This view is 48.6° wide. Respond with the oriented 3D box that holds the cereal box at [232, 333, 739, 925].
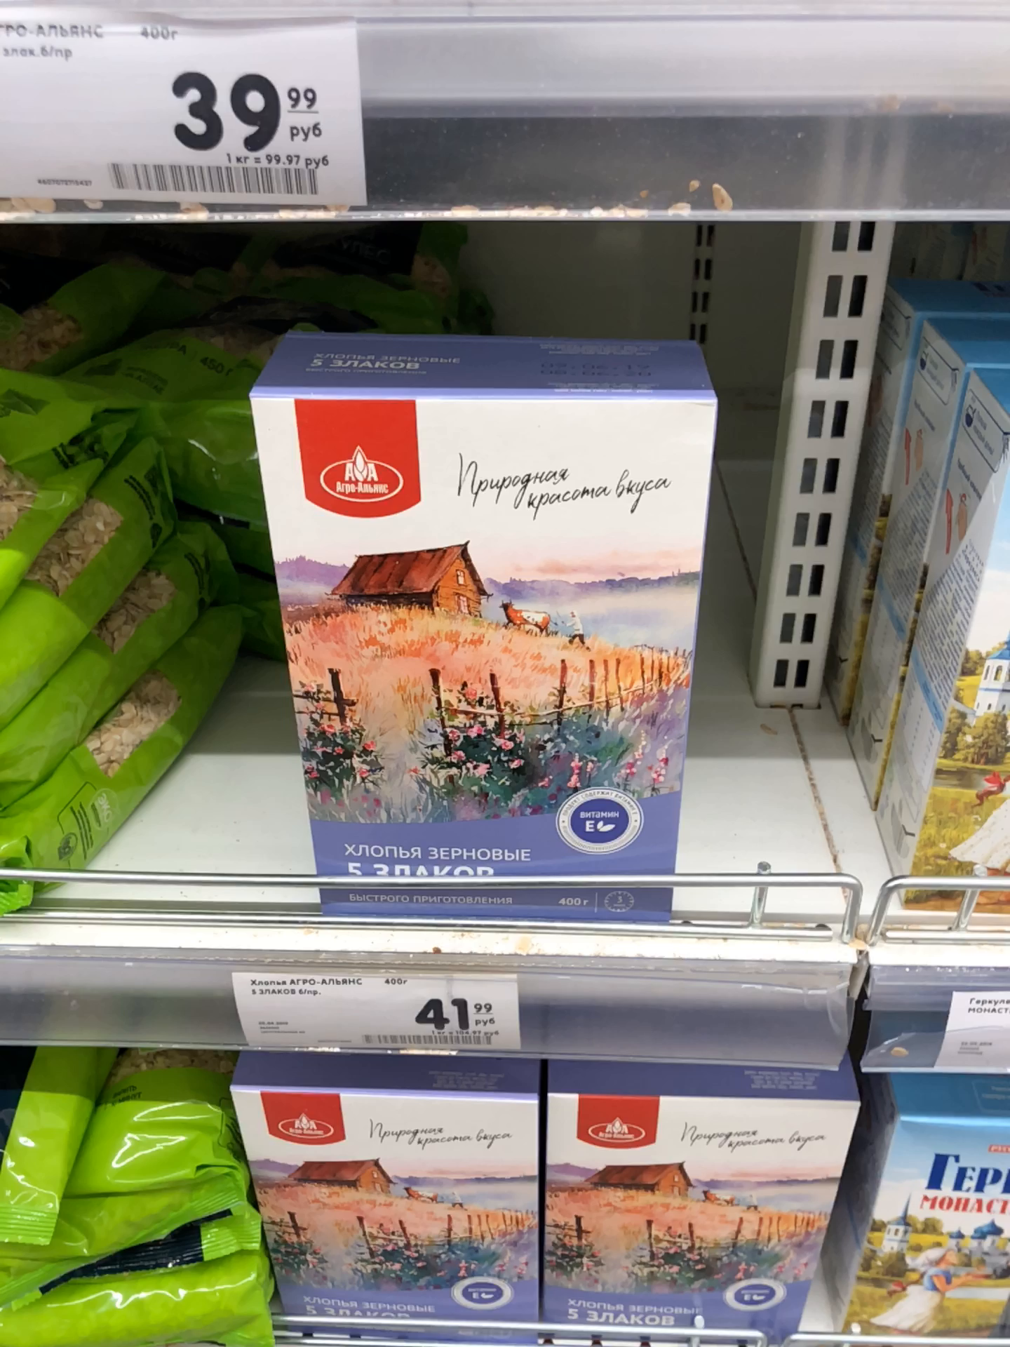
[{"bbox_3d":[-0.003,-0.009,0.386,0.140,0.199,0.060,1,33,3],"label":"cereal box"}]
